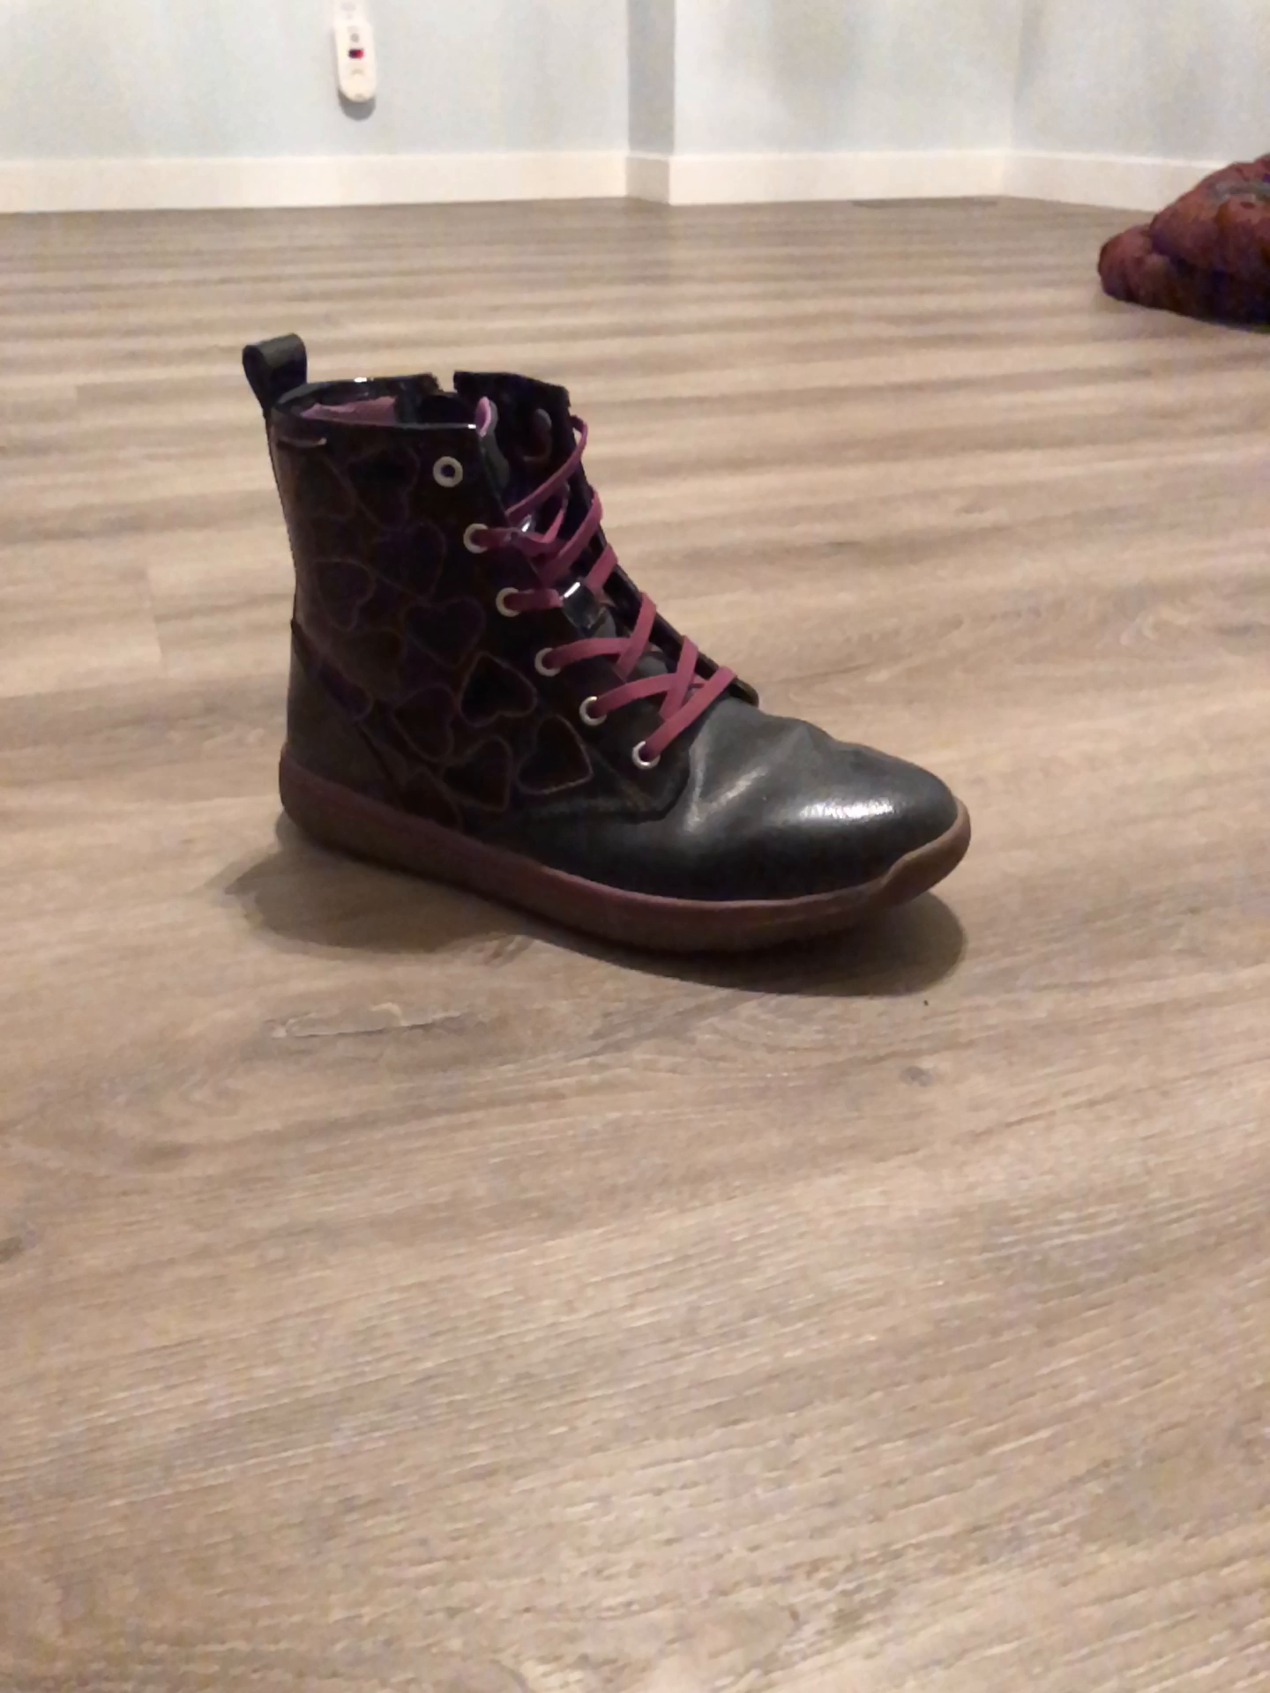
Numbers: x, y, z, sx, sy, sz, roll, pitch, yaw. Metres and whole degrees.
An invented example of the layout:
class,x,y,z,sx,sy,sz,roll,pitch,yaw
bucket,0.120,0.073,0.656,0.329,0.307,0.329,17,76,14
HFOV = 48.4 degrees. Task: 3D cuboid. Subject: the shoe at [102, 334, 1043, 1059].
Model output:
class,x,y,z,sx,sy,sz,roll,pitch,yaw
shoe,-0.018,-0.057,0.410,0.230,0.149,0.100,12,30,23
